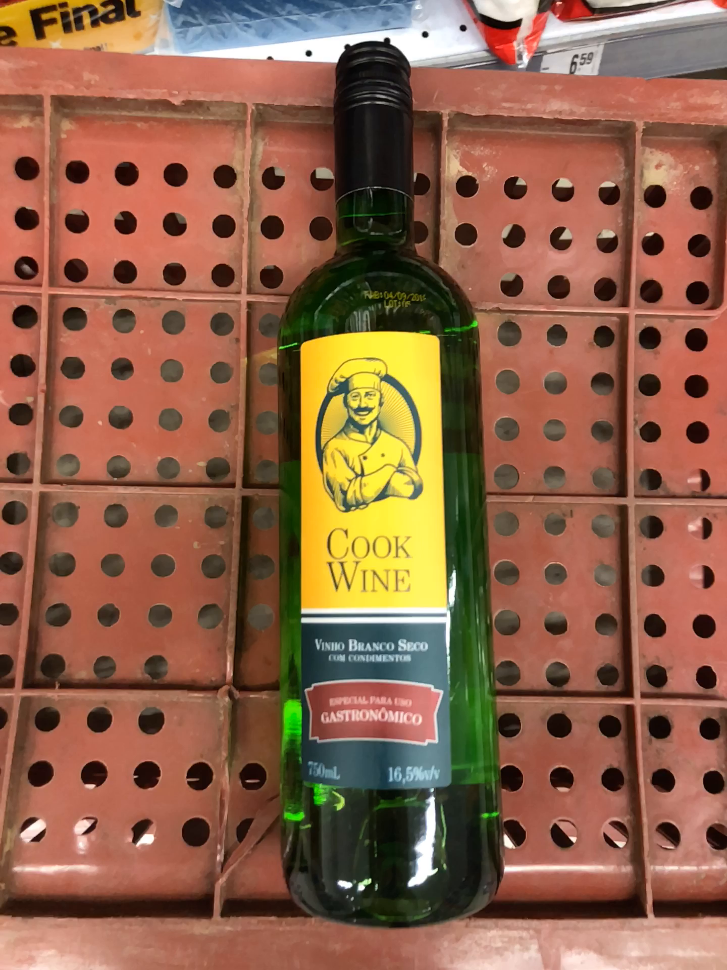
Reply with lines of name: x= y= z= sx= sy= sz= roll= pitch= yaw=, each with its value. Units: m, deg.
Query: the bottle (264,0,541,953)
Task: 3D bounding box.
bottle: x=0.012 y=-0.023 z=0.281 sx=0.080 sy=0.060 sz=0.320 roll=-2 pitch=83 yaw=8
